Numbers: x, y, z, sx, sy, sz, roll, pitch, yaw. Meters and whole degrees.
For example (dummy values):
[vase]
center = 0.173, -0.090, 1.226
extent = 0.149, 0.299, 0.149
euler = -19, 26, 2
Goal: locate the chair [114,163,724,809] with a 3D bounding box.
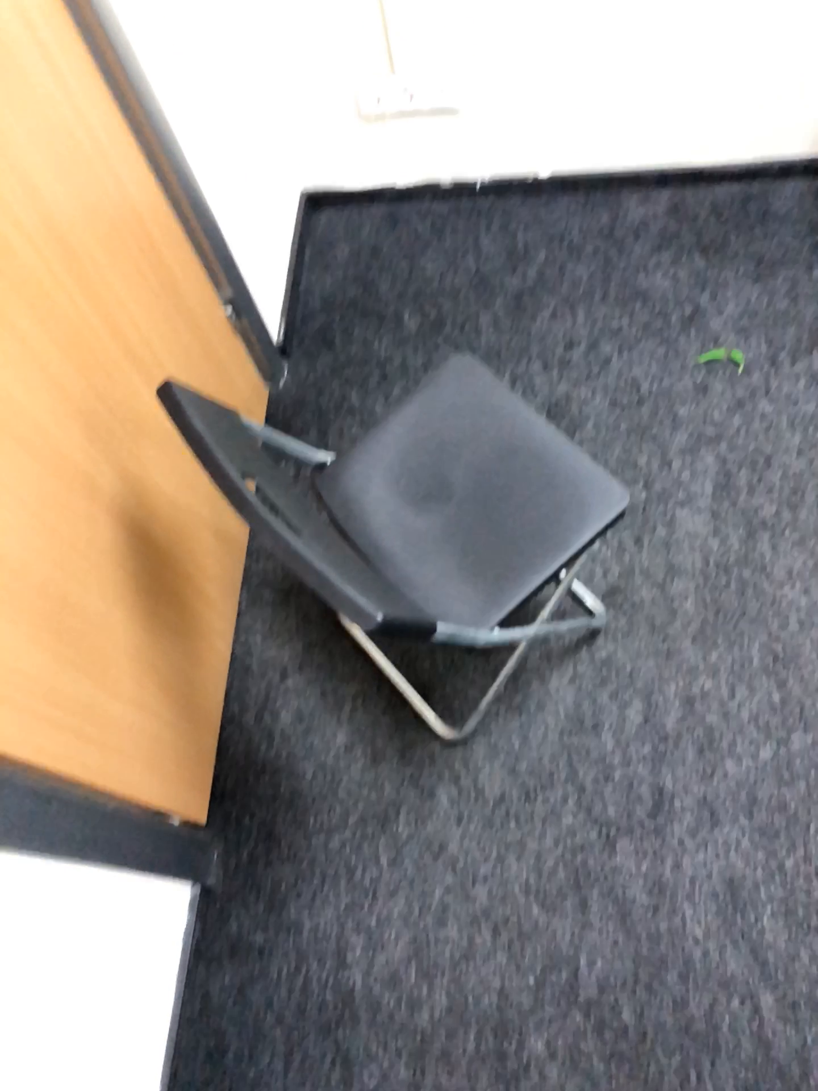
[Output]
[chair]
center = 0.046, -0.020, 1.312
extent = 0.480, 0.728, 0.481
euler = -40, 65, -9
